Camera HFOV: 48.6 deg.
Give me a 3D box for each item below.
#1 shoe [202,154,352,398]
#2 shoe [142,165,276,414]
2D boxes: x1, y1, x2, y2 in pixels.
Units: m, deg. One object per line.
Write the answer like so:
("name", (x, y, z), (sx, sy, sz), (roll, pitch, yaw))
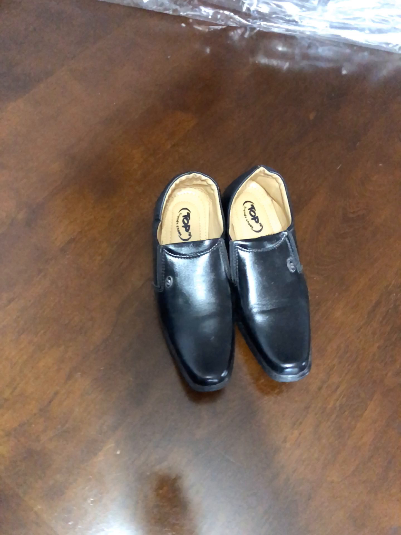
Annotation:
("shoe", (0.066, 0.006, 0.465), (0.090, 0.090, 0.230), (-7, 65, -7))
("shoe", (-0.001, 0.017, 0.451), (0.090, 0.080, 0.230), (-7, 65, -7))
